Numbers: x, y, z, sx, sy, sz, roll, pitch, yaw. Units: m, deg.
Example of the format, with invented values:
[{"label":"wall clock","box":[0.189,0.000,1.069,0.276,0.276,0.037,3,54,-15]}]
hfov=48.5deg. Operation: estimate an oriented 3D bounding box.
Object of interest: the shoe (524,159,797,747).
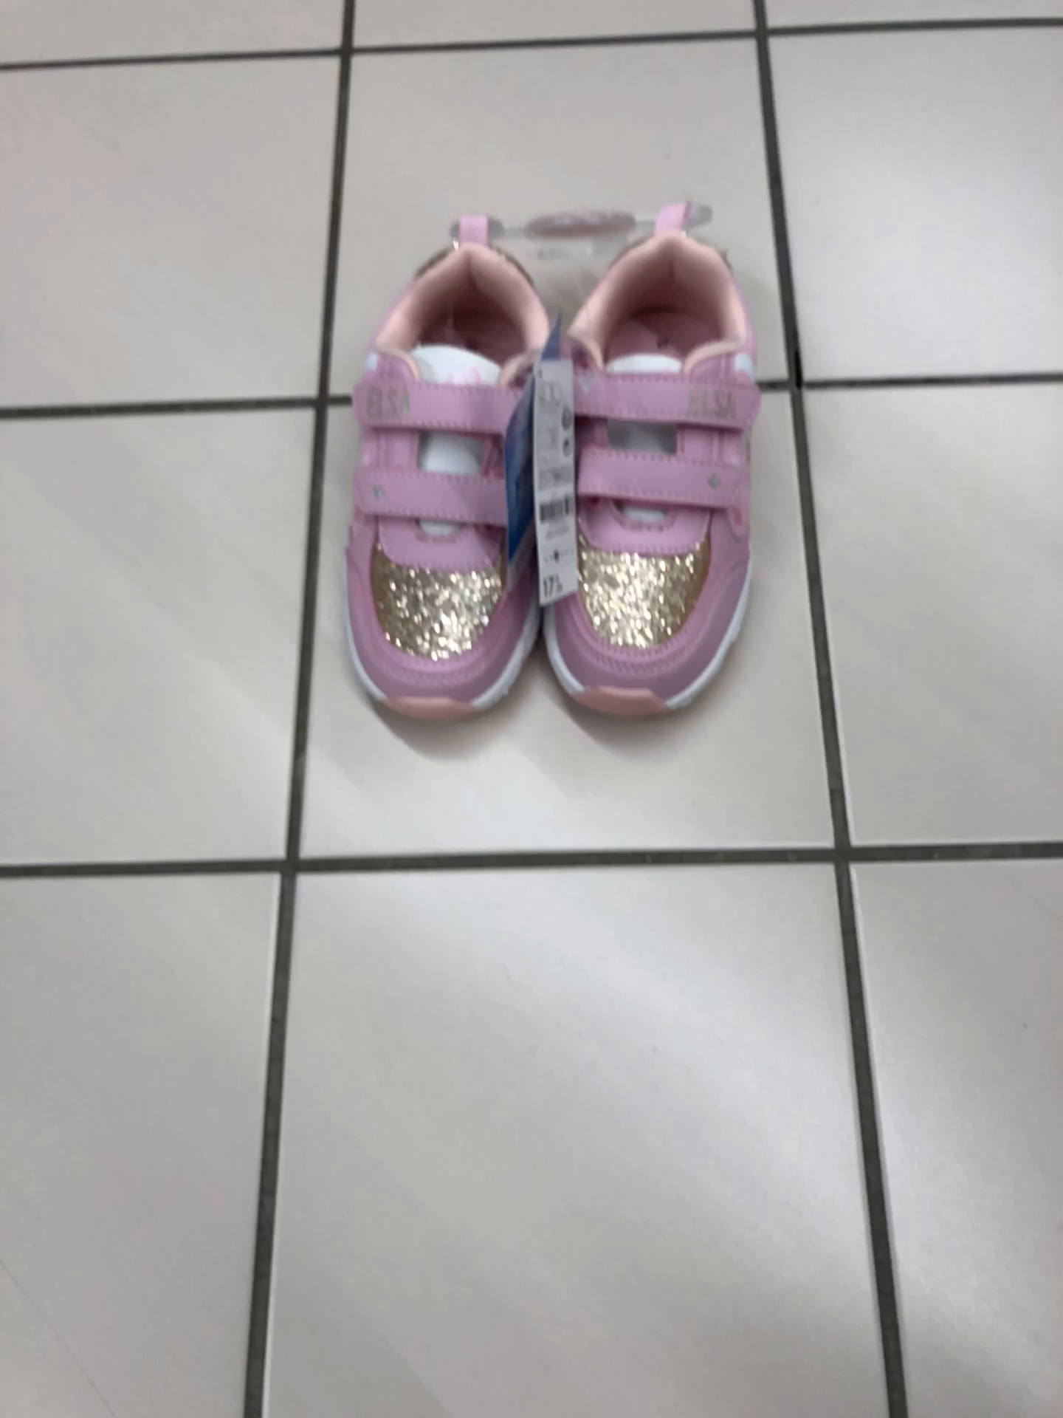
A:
[{"label":"shoe","box":[0.045,-0.093,0.435,0.083,0.087,0.195,2,69,3]}]

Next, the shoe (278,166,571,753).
[{"label":"shoe","box":[-0.030,-0.091,0.436,0.083,0.087,0.195,2,69,3]}]
